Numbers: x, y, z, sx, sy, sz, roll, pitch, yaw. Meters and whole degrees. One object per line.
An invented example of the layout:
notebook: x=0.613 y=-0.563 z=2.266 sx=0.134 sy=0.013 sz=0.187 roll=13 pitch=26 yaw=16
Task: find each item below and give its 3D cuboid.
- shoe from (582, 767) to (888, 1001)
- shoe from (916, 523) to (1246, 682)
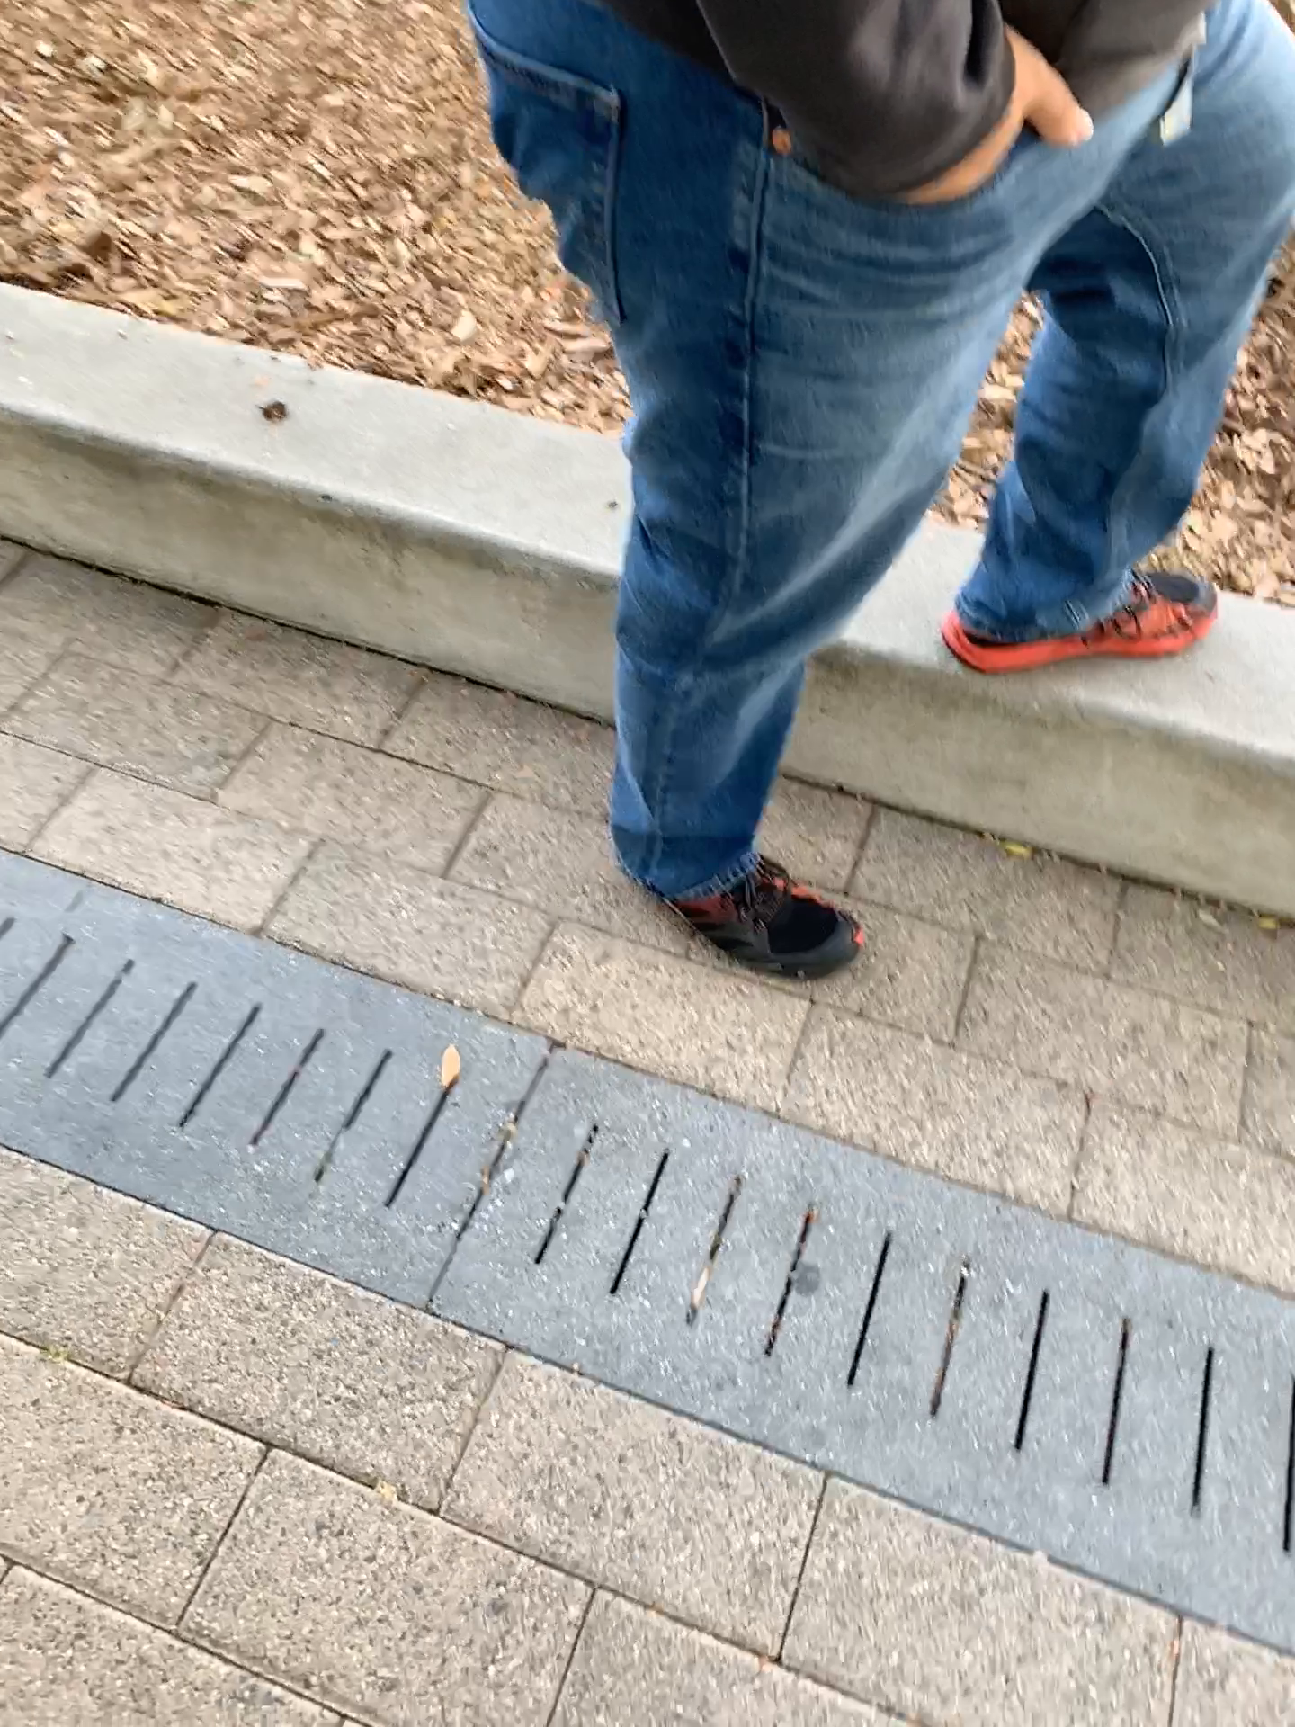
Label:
shoe: x=0.094 y=0.018 z=1.472 sx=0.306 sy=0.080 sz=0.137 roll=23 pitch=53 yaw=15
shoe: x=0.468 y=-0.287 z=1.440 sx=0.310 sy=0.080 sz=0.122 roll=-8 pitch=52 yaw=-9
